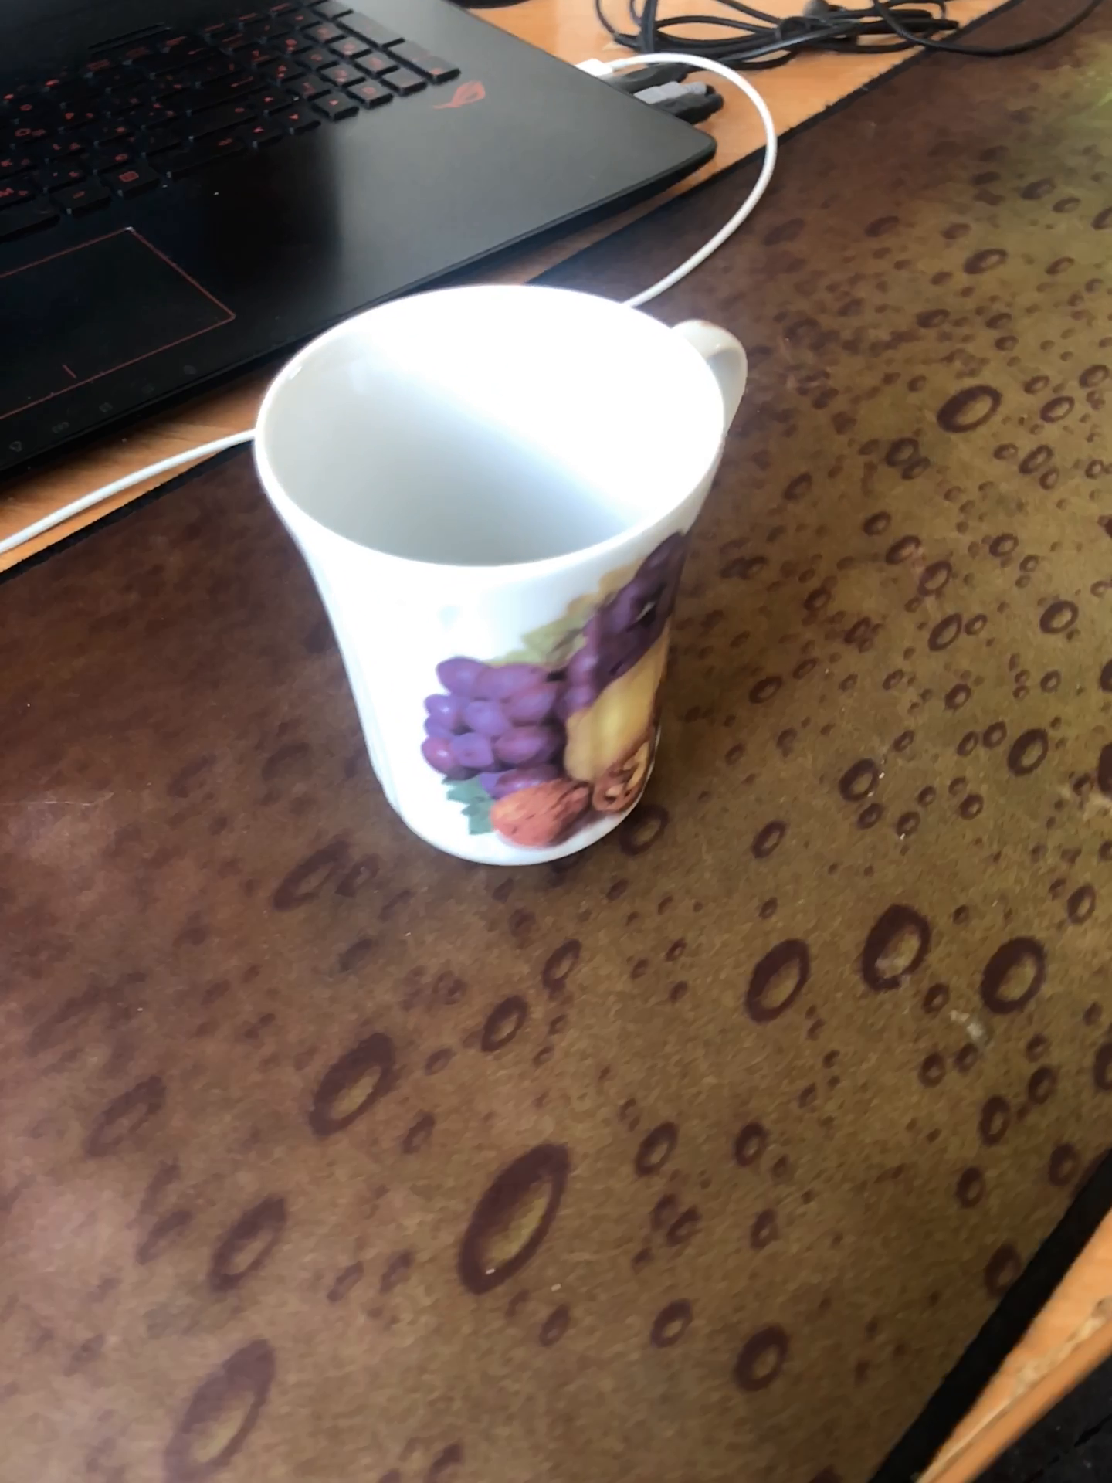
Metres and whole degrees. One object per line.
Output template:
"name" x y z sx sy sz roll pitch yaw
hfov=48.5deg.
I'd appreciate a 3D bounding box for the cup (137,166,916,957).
"cup" -0.001 -0.037 0.228 0.080 0.080 0.100 29 57 25
